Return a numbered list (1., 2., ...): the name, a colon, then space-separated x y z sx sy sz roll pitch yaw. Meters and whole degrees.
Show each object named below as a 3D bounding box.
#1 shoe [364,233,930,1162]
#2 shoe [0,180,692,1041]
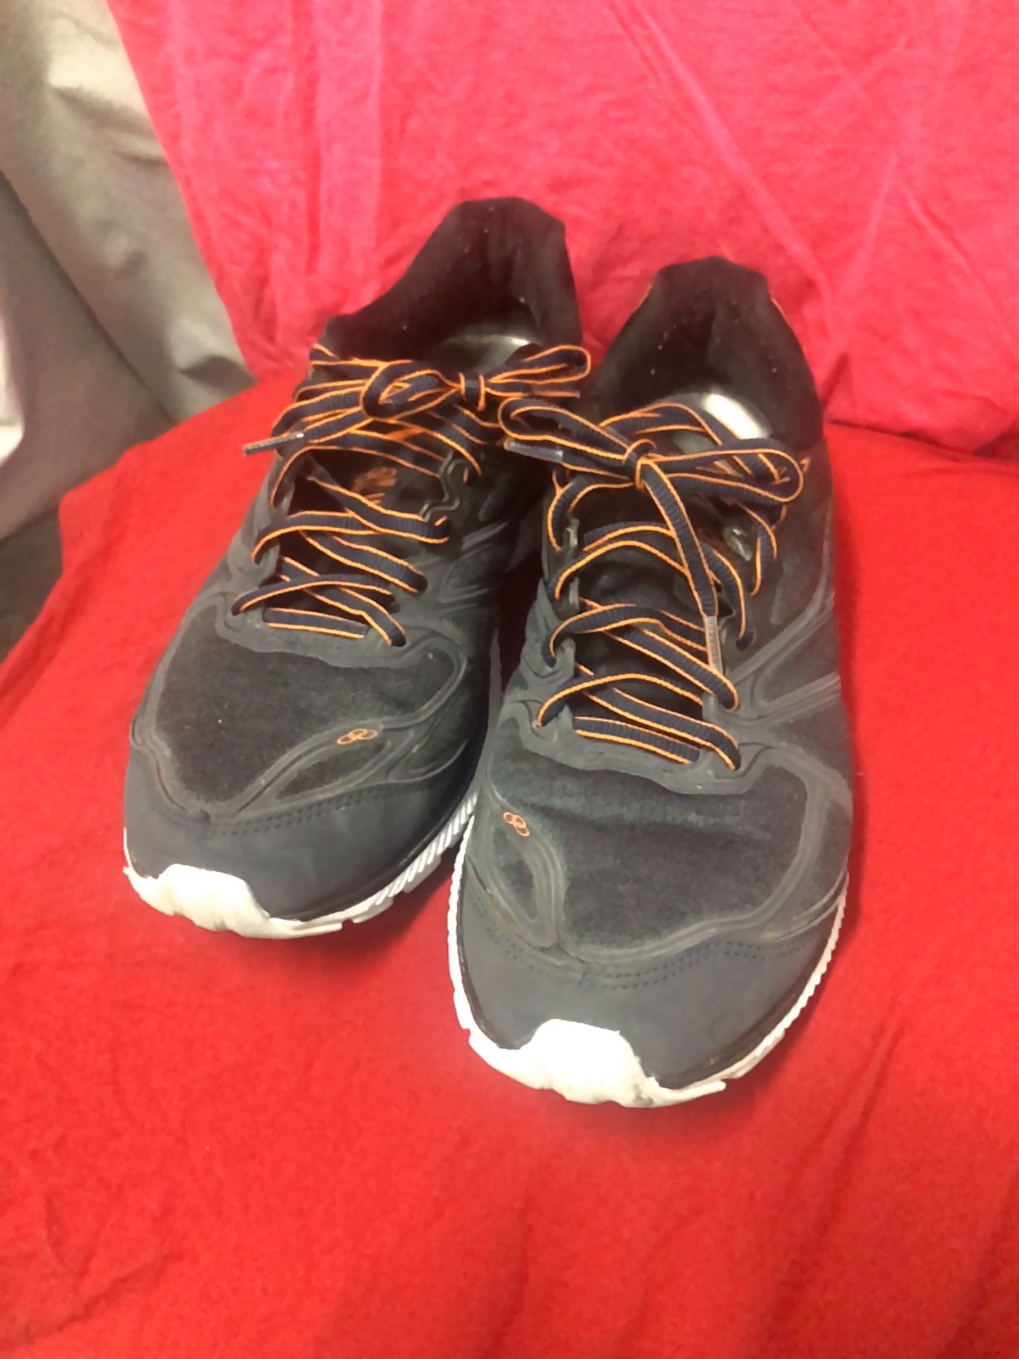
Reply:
1. shoe: 0.052 -0.022 0.350 0.110 0.099 0.282 8 47 8
2. shoe: -0.031 -0.049 0.359 0.110 0.089 0.282 14 48 13
